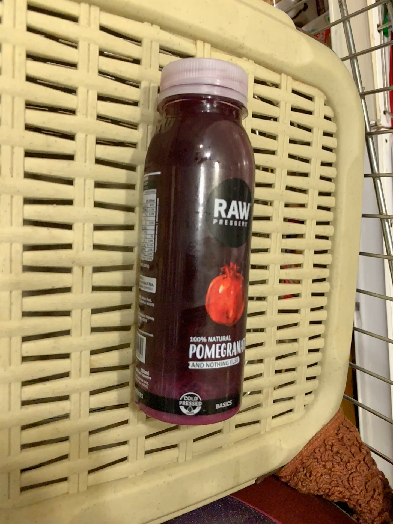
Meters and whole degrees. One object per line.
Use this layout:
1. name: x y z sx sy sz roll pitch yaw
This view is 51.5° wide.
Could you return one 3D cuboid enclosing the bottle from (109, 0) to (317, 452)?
1. bottle: 0.005 -0.013 0.178 0.060 0.050 0.160 1 95 -36
